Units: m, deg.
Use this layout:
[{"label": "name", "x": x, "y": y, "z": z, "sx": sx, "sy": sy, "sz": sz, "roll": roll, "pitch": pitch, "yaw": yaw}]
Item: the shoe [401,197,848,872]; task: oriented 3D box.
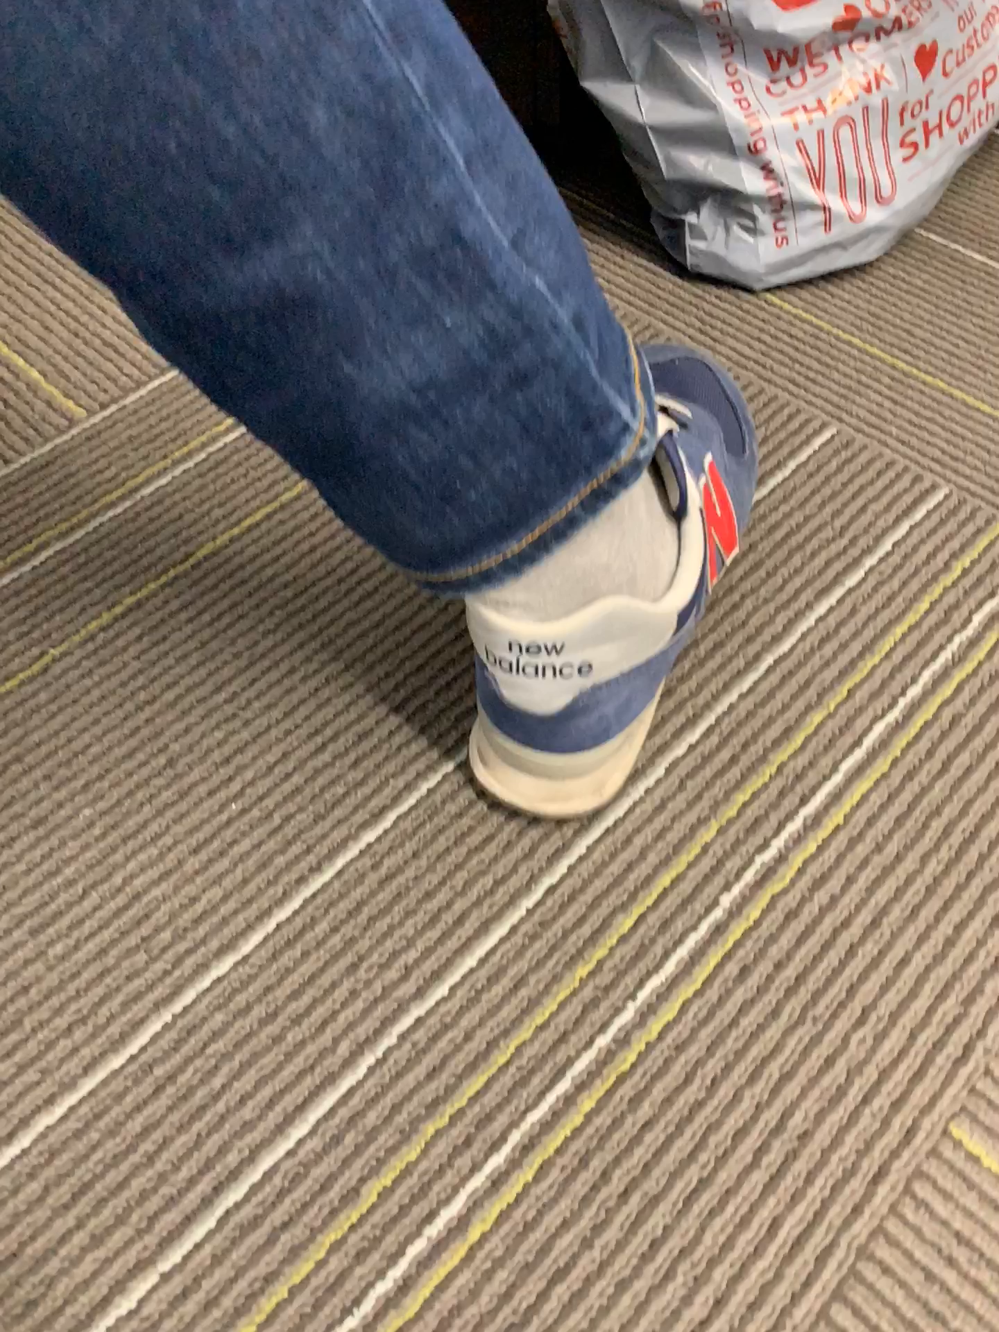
[{"label": "shoe", "x": 0.072, "y": -0.078, "z": 0.513, "sx": 0.108, "sy": 0.139, "sz": 0.308, "roll": 18, "pitch": 58, "yaw": 13}]
